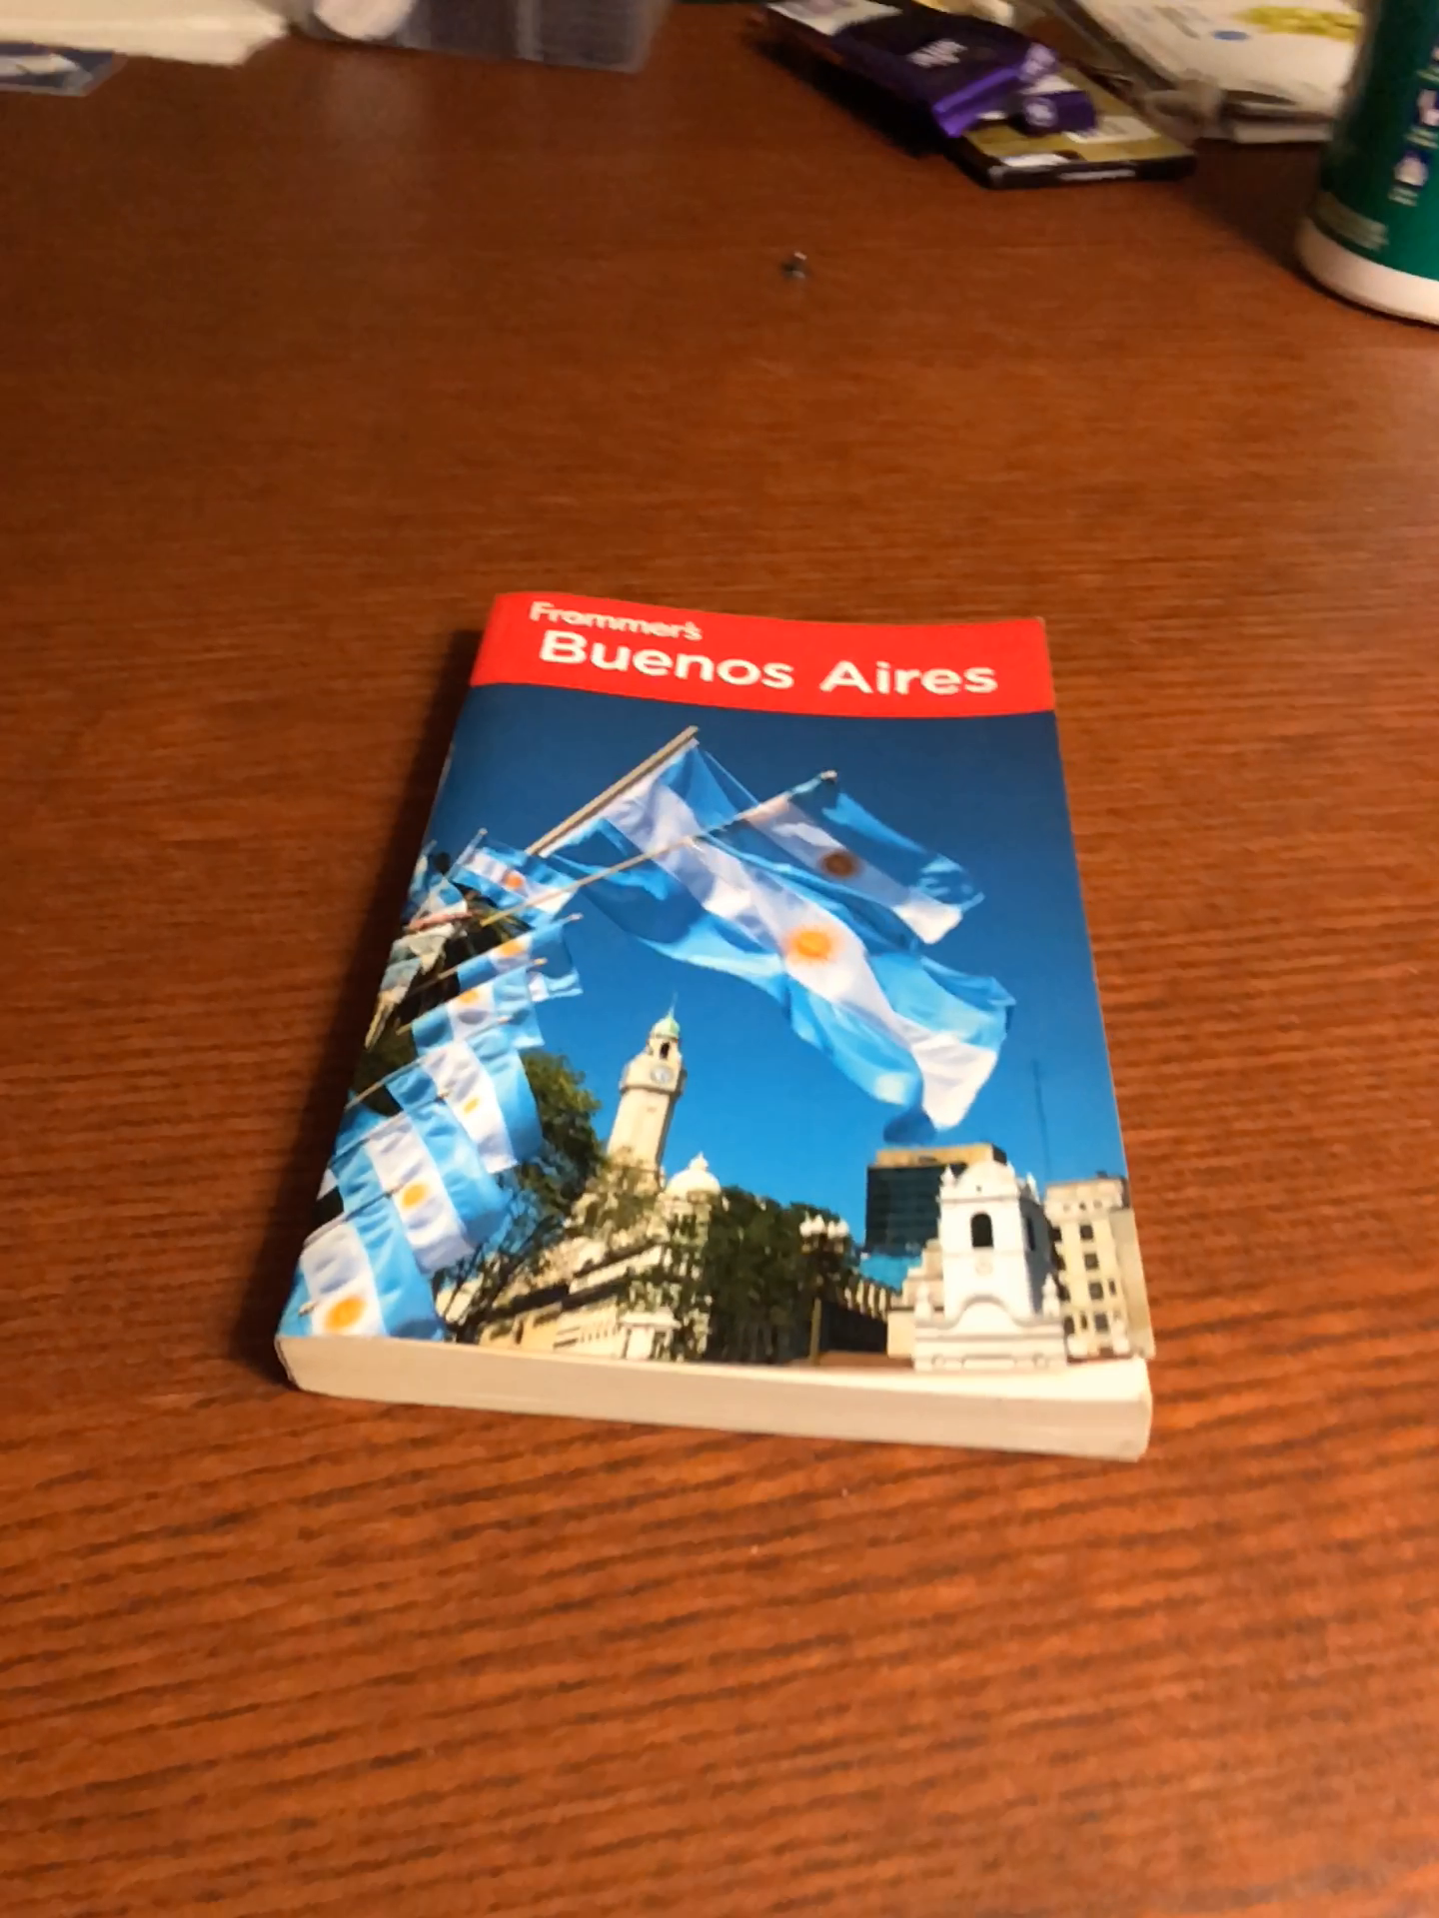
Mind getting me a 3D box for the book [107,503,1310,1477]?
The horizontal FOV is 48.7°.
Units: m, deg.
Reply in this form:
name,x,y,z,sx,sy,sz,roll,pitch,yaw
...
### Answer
name,x,y,z,sx,sy,sz,roll,pitch,yaw
book,0.002,-0.016,0.297,0.160,0.020,0.221,4,45,-1
